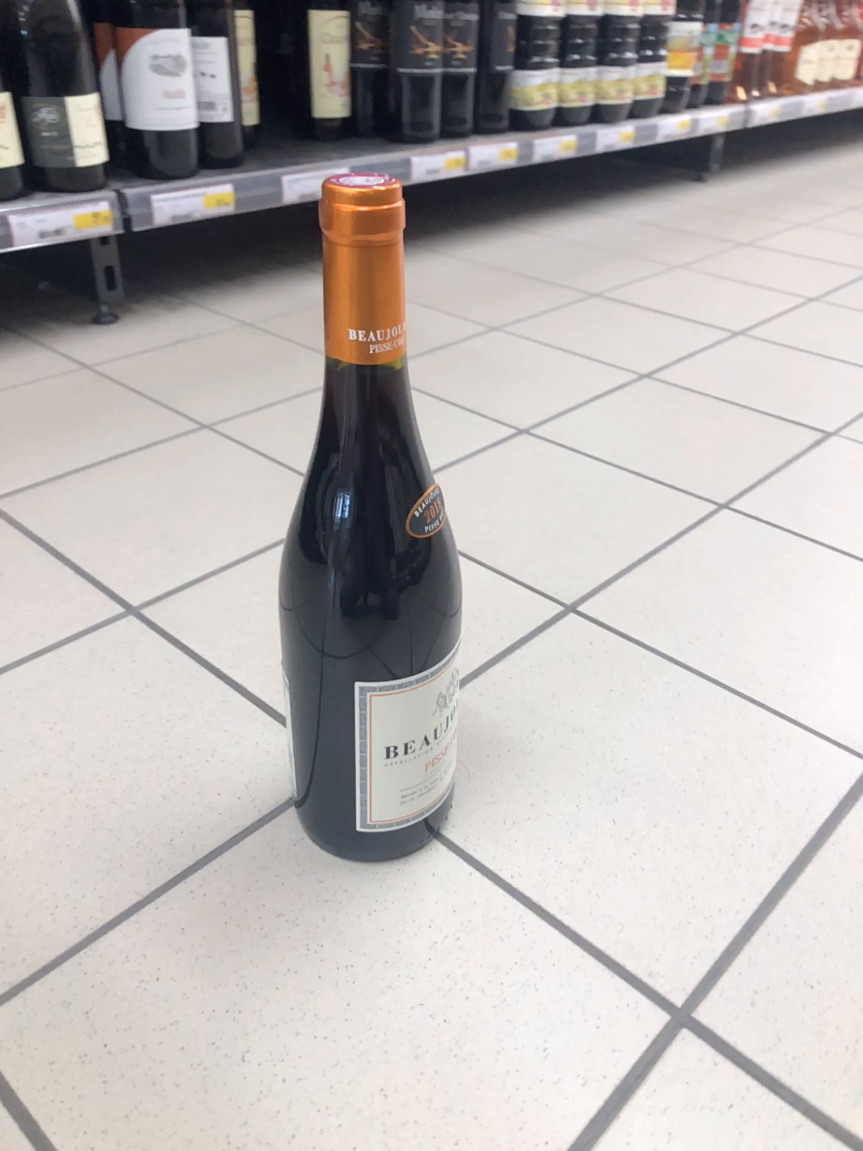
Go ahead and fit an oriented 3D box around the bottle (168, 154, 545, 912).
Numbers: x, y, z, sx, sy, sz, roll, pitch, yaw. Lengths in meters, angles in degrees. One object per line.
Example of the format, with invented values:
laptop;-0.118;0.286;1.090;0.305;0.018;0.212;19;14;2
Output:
bottle;-0.027;-0.009;0.395;0.090;0.288;0.091;1;31;-1
